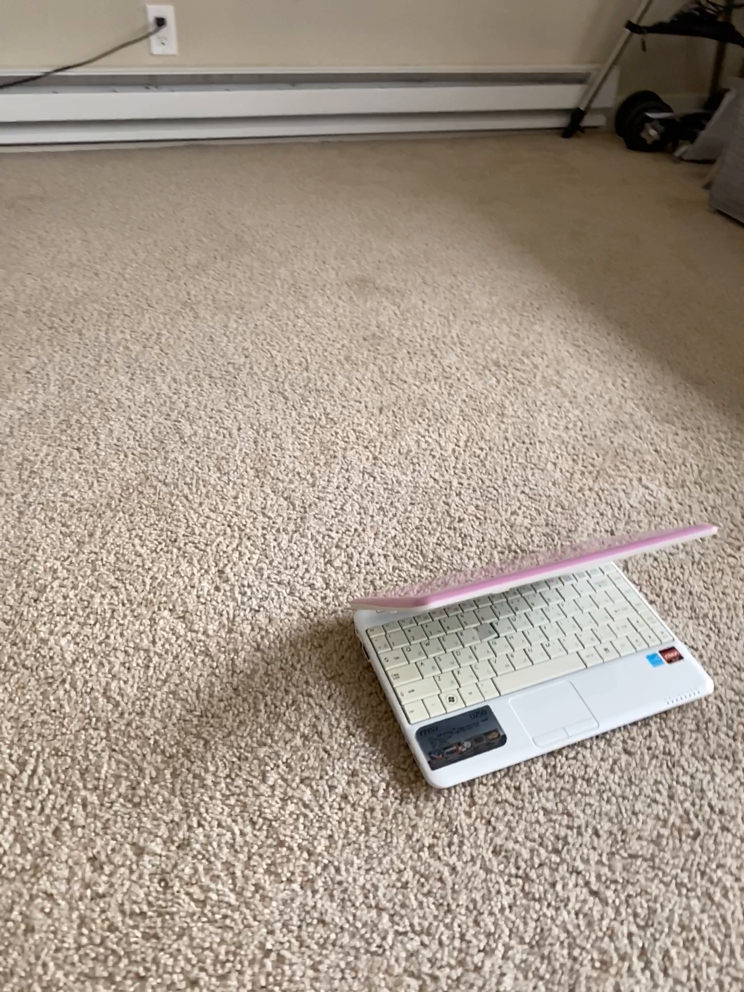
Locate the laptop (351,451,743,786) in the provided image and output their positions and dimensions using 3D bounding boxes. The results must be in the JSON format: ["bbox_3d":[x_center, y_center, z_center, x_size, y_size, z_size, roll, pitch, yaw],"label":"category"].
[{"bbox_3d":[0.152,0.094,0.683,0.290,0.125,0.194,-12,43,-19],"label":"laptop"}]
